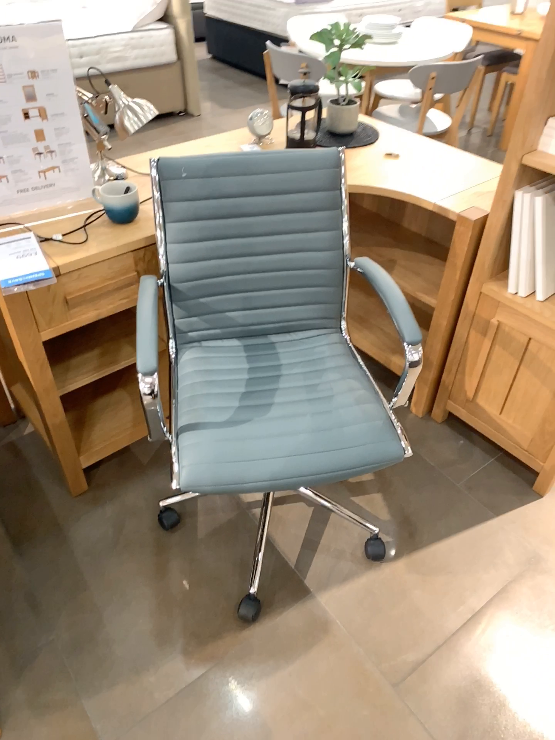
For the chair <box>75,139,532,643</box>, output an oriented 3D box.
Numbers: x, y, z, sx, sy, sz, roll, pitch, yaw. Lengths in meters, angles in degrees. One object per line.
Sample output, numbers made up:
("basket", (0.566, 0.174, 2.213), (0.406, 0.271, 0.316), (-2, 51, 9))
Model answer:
("chair", (-0.016, 0.036, 1.351), (0.664, 0.883, 0.714), (-6, 41, -9))
